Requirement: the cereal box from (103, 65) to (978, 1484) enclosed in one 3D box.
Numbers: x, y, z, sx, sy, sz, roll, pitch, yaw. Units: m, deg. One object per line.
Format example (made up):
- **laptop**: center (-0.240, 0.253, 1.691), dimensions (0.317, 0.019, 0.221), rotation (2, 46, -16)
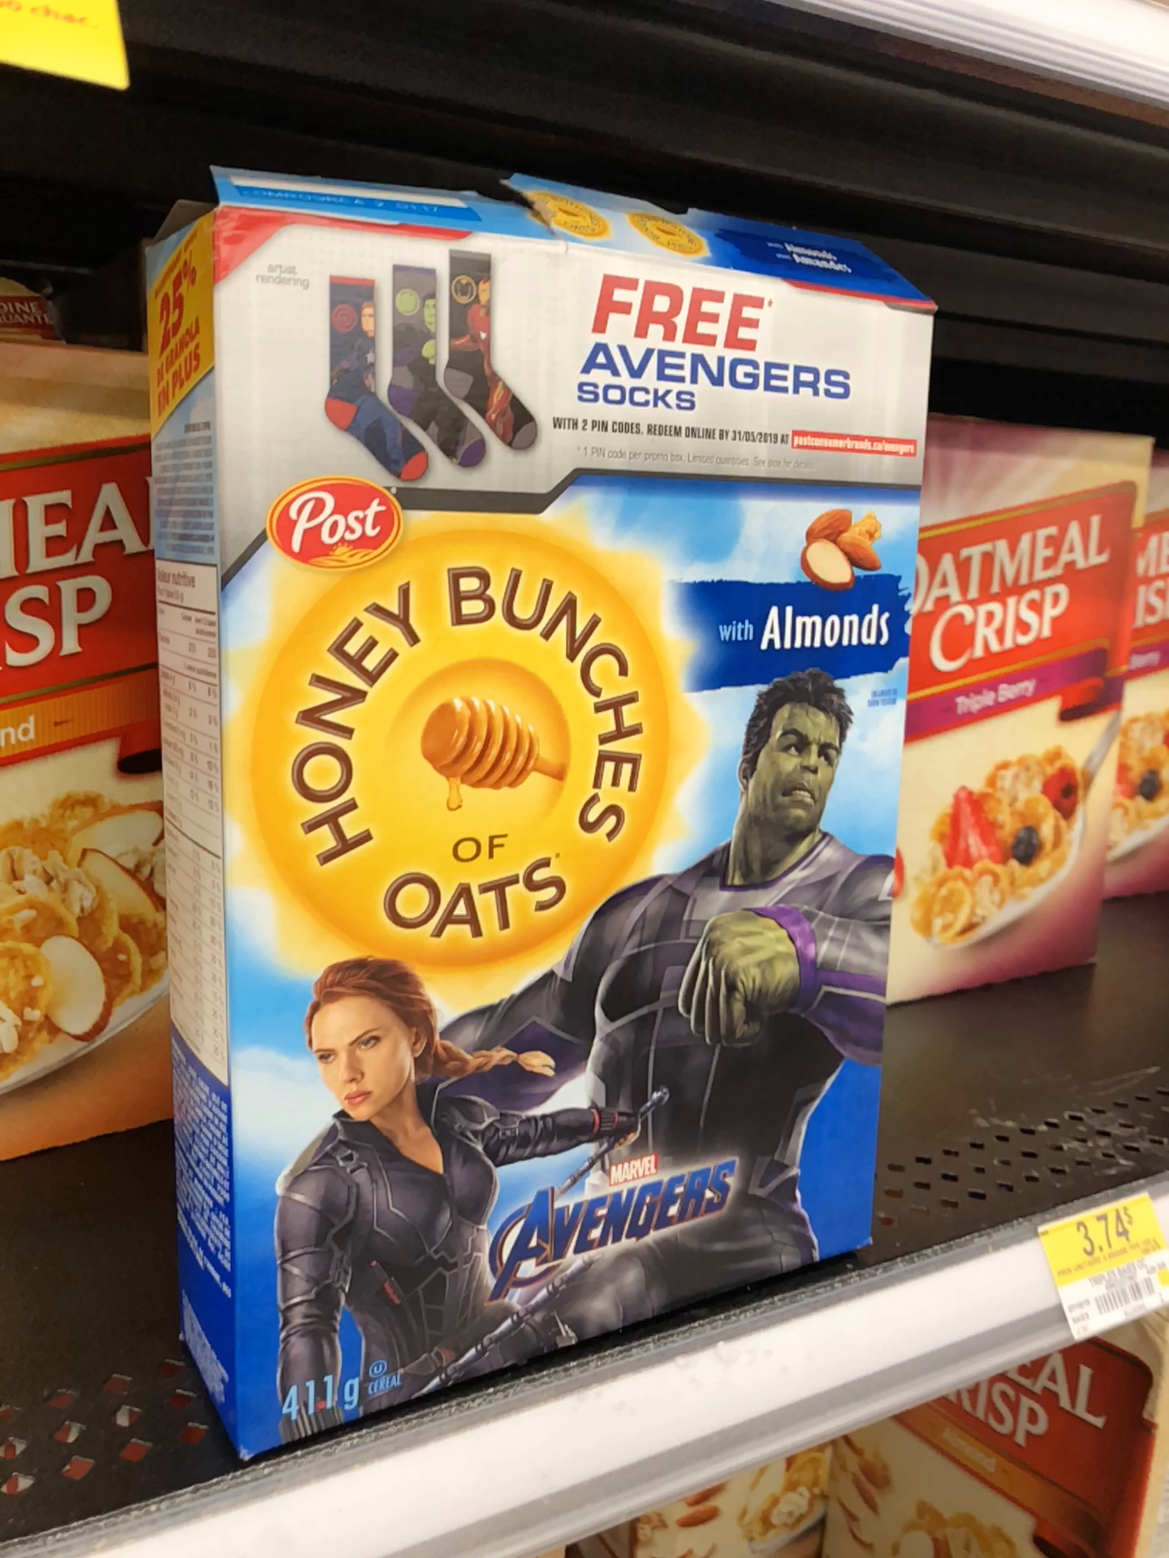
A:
- **cereal box**: center (-0.010, 0.000, 0.338), dimensions (0.200, 0.289, 0.070), rotation (-4, 13, -30)
